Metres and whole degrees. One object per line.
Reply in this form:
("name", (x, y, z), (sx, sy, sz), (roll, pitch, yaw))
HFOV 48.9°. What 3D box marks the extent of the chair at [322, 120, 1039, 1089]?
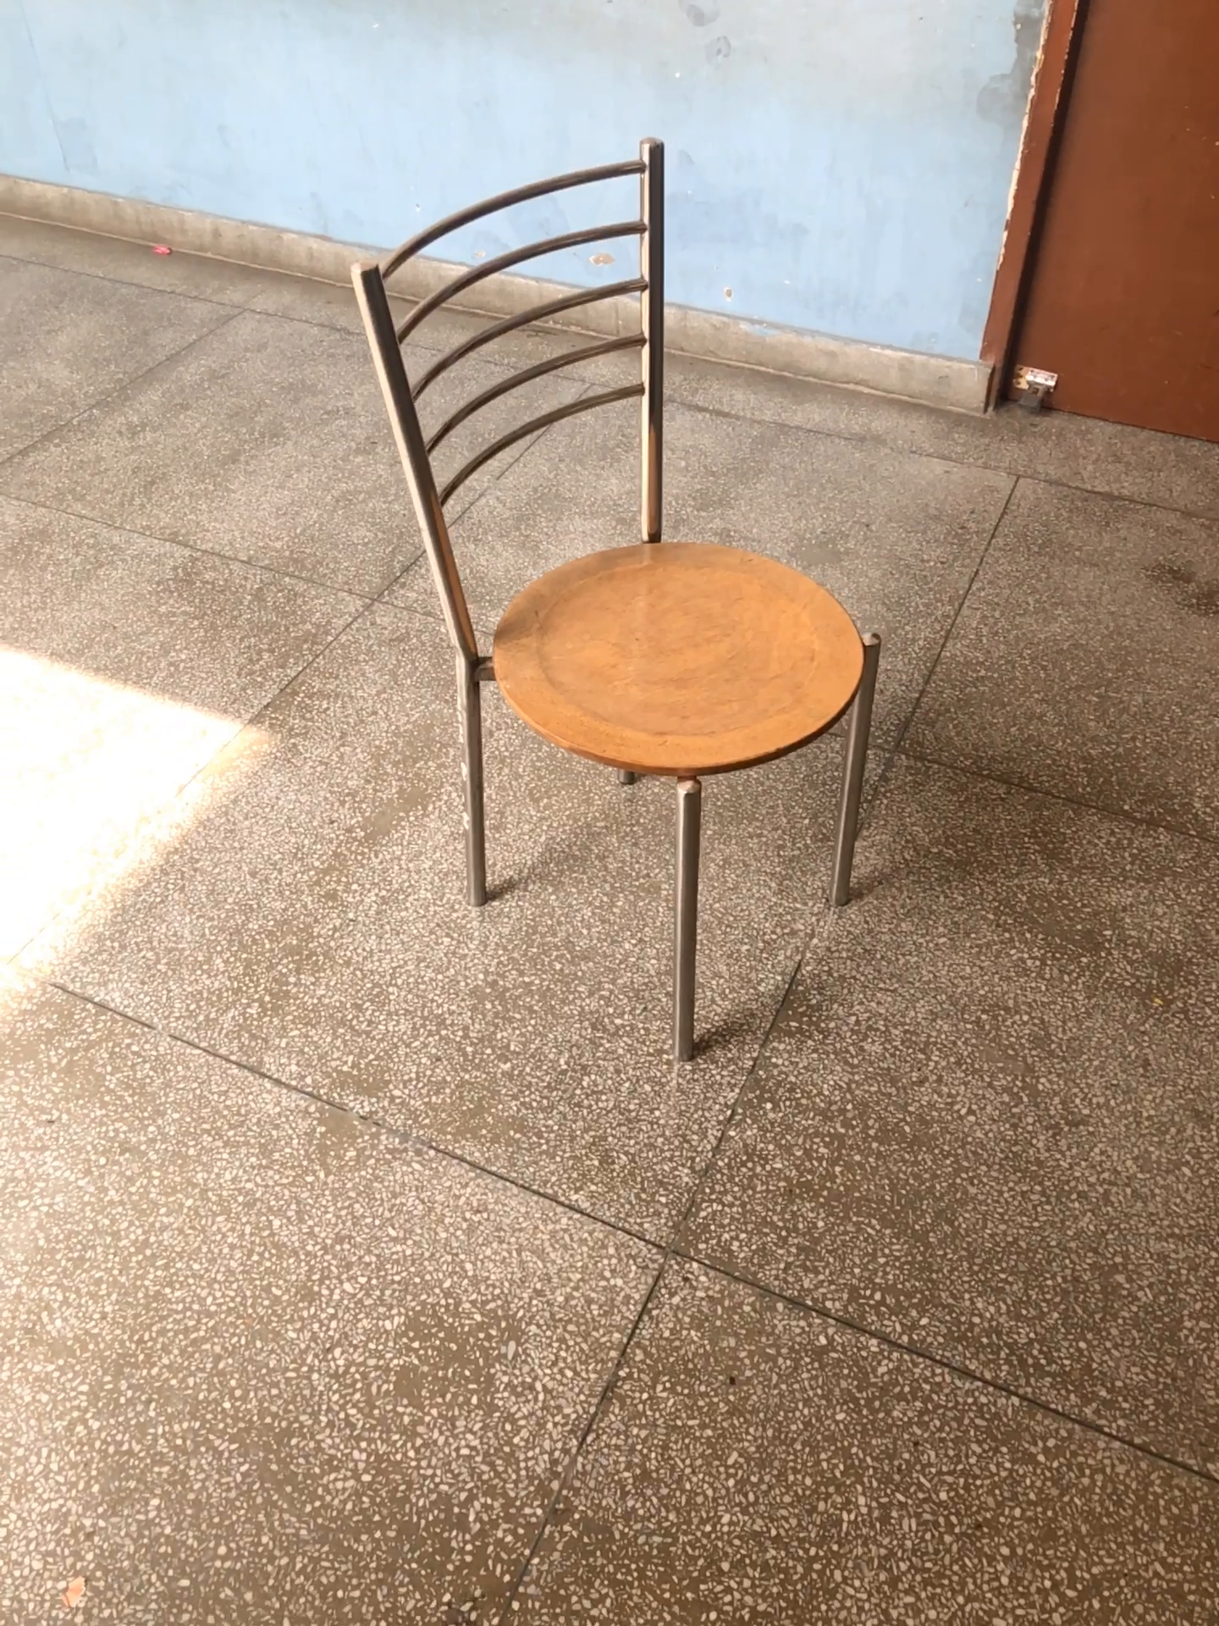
("chair", (0.066, -0.194, 1.366), (0.421, 0.777, 0.421), (29, 51, 28))
